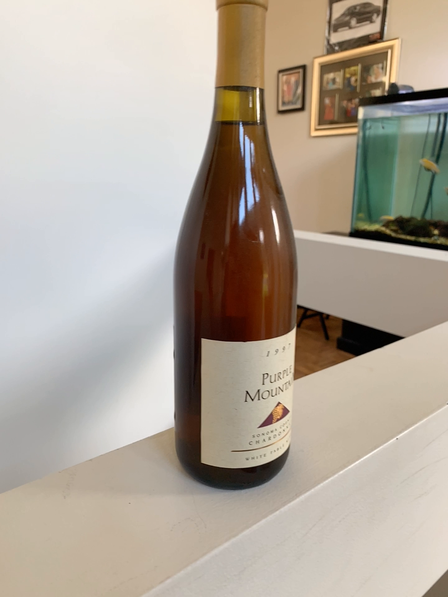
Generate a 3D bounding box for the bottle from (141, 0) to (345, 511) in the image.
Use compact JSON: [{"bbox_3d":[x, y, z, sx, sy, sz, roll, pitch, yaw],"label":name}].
[{"bbox_3d":[0.009,-0.036,0.296,0.080,0.309,0.080,1,15,0],"label":"bottle"}]
